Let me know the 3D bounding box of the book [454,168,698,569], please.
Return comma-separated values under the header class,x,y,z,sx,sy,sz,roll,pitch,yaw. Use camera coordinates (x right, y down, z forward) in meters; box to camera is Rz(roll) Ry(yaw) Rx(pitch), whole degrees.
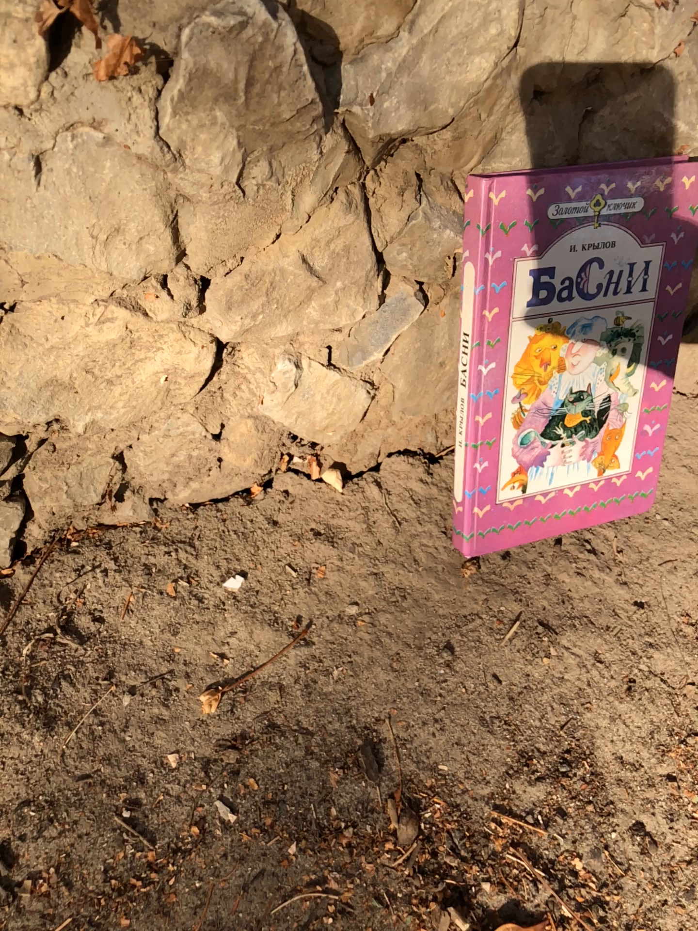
class,x,y,z,sx,sy,sz,roll,pitch,yaw
book,0.130,-0.052,0.419,0.142,0.201,0.025,-10,25,-21
